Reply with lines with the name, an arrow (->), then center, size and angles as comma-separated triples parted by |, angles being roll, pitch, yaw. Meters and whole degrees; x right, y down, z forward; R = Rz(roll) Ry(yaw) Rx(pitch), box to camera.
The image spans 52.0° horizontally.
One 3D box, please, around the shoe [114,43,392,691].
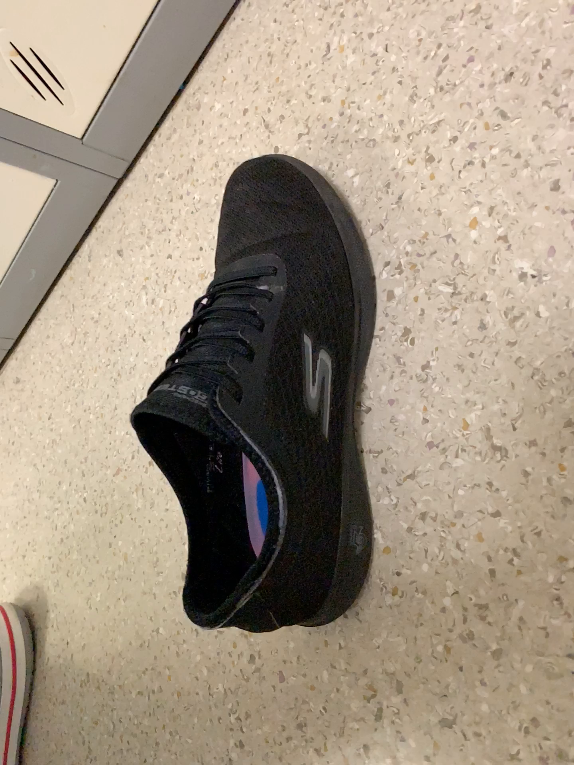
shoe -> -0.017, -0.008, 0.322 | 0.105, 0.099, 0.280 | -7, 79, 46
